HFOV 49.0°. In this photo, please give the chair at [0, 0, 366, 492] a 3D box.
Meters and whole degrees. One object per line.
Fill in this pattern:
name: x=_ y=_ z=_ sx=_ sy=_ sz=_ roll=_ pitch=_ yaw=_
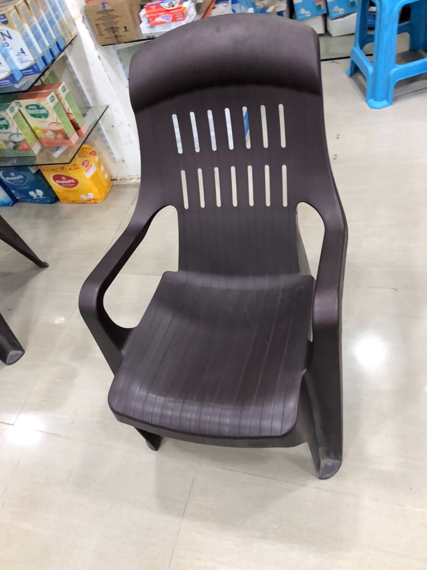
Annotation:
chair: x=0.015 y=-0.051 z=1.119 sx=0.630 sy=0.846 sz=0.684 roll=2 pitch=51 yaw=20
